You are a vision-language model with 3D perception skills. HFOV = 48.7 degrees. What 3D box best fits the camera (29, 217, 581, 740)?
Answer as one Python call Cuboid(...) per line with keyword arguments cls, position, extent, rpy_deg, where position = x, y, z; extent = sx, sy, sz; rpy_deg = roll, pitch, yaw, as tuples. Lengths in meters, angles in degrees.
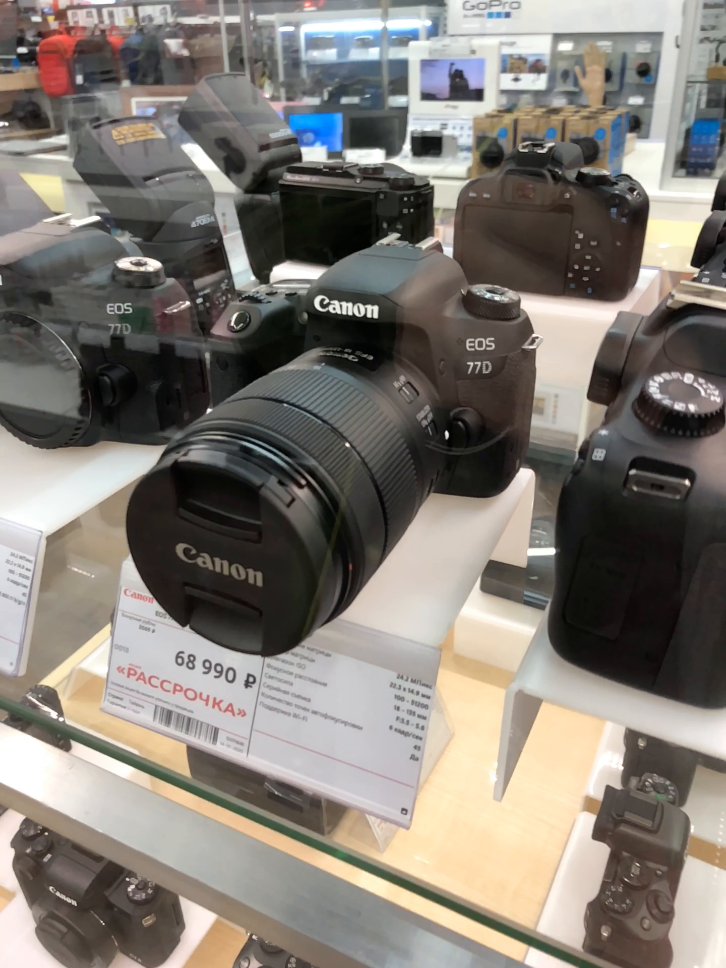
Cuboid(cls="camera", position=(-0.005, -0.022, 0.315), extent=(0.132, 0.119, 0.168), rpy_deg=(12, 32, 23))
